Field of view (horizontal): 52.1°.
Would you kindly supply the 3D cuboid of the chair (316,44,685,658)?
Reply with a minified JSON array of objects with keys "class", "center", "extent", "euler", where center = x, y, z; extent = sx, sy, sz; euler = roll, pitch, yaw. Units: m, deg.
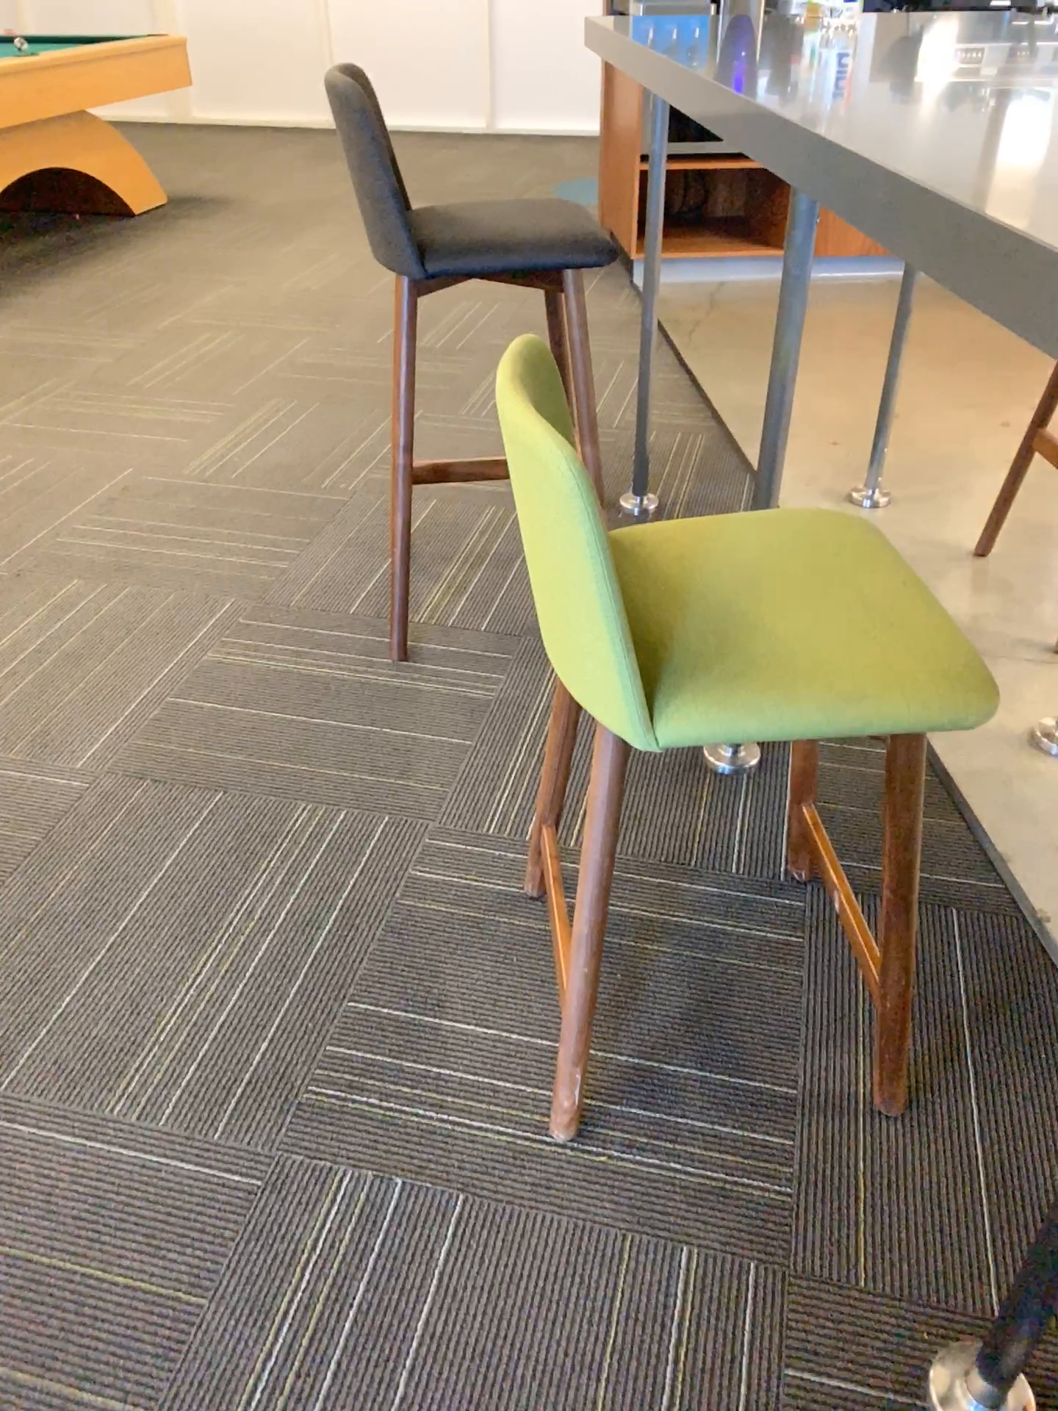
[{"class":"chair","center":[-0.072,-0.695,2.118],"extent":[0.540,0.974,0.644],"euler":[-4,35,-5]}]

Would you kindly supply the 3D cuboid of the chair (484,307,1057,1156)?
[{"class":"chair","center":[0.212,0.046,1.214],"extent":[0.480,0.825,0.443],"euler":[-3,35,-3]}]
